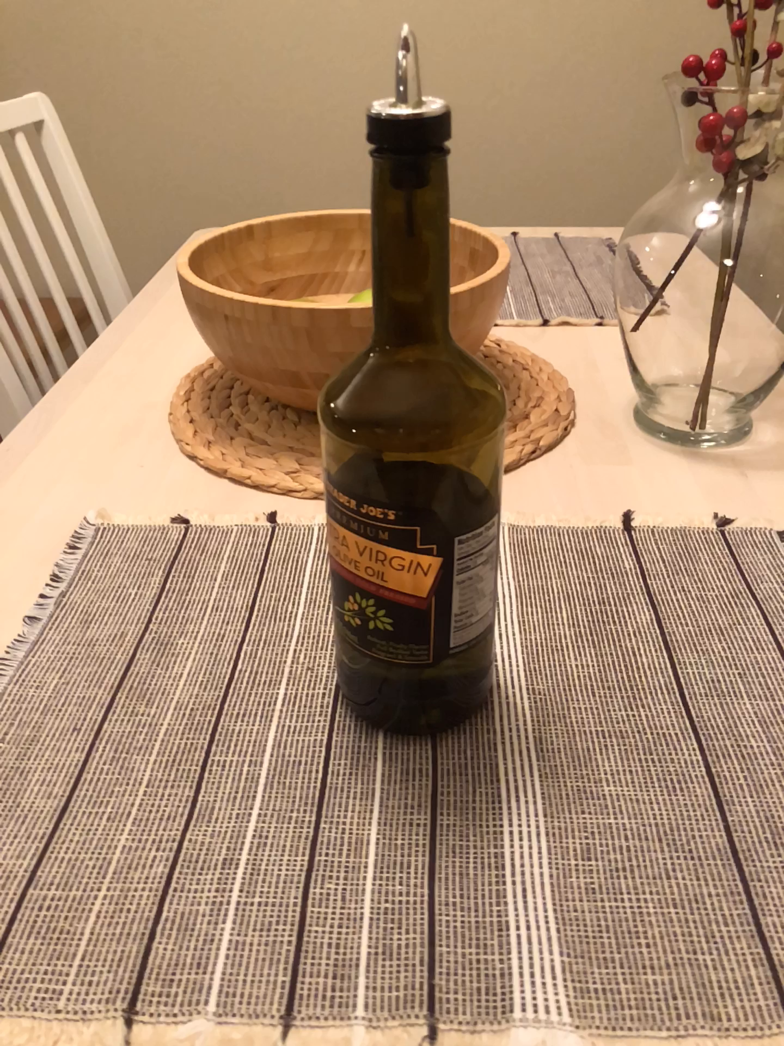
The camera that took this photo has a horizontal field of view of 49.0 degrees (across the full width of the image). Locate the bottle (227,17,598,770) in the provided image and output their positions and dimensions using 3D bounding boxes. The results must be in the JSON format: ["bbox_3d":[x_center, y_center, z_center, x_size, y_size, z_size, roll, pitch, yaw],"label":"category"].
[{"bbox_3d":[0.010,-0.047,0.384,0.091,0.304,0.095,-1,32,0],"label":"bottle"}]
